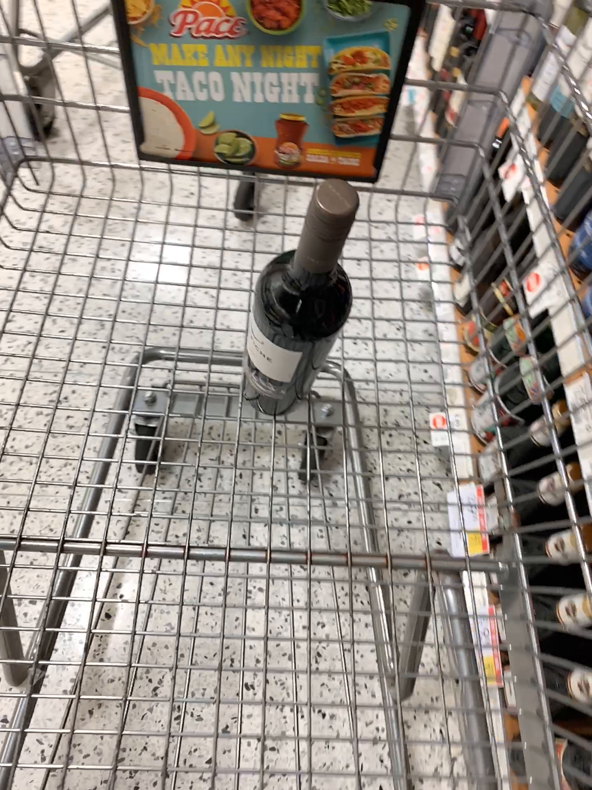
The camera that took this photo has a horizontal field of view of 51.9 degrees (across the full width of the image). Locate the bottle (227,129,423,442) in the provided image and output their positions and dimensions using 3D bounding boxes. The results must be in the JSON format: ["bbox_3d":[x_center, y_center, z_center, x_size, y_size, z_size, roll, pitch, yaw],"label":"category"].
[{"bbox_3d":[0.001,-0.063,0.504,0.090,0.298,0.090,3,67,-6],"label":"bottle"}]
